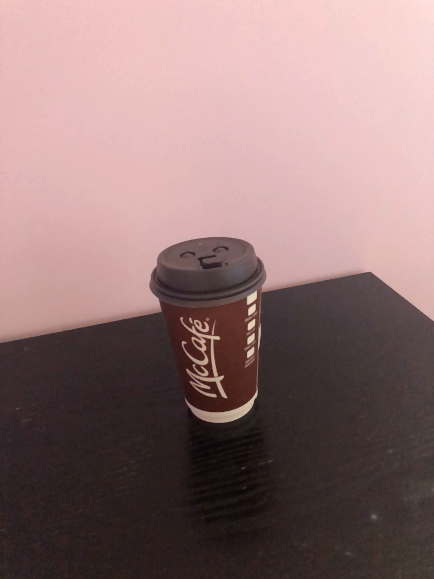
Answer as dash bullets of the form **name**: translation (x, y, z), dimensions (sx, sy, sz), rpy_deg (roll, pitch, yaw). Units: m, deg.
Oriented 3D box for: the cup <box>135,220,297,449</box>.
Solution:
- **cup**: translation (0.001, 0.031, 0.389), dimensions (0.090, 0.139, 0.090), rpy_deg (-4, 27, 2)
